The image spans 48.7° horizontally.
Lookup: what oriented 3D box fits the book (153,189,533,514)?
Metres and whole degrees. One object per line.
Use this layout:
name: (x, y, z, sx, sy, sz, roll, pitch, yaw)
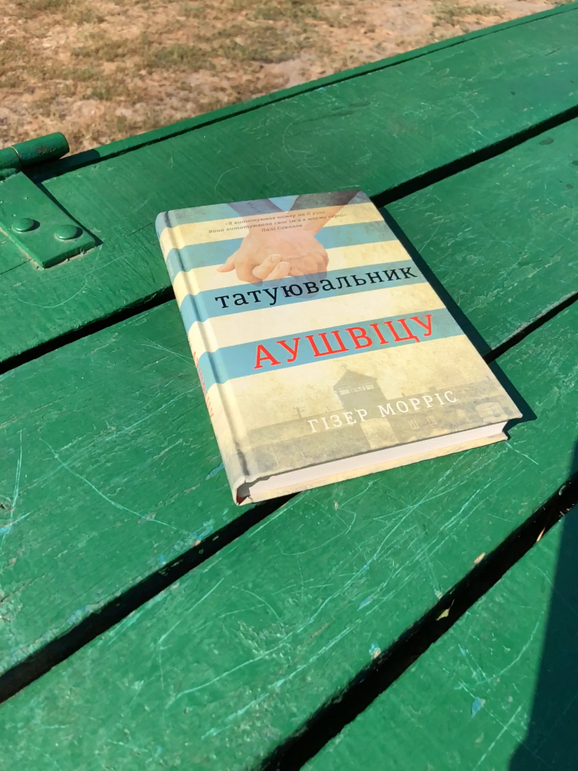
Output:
book: (0.015, -0.039, 0.361, 0.147, 0.020, 0.214, -10, 50, -15)
